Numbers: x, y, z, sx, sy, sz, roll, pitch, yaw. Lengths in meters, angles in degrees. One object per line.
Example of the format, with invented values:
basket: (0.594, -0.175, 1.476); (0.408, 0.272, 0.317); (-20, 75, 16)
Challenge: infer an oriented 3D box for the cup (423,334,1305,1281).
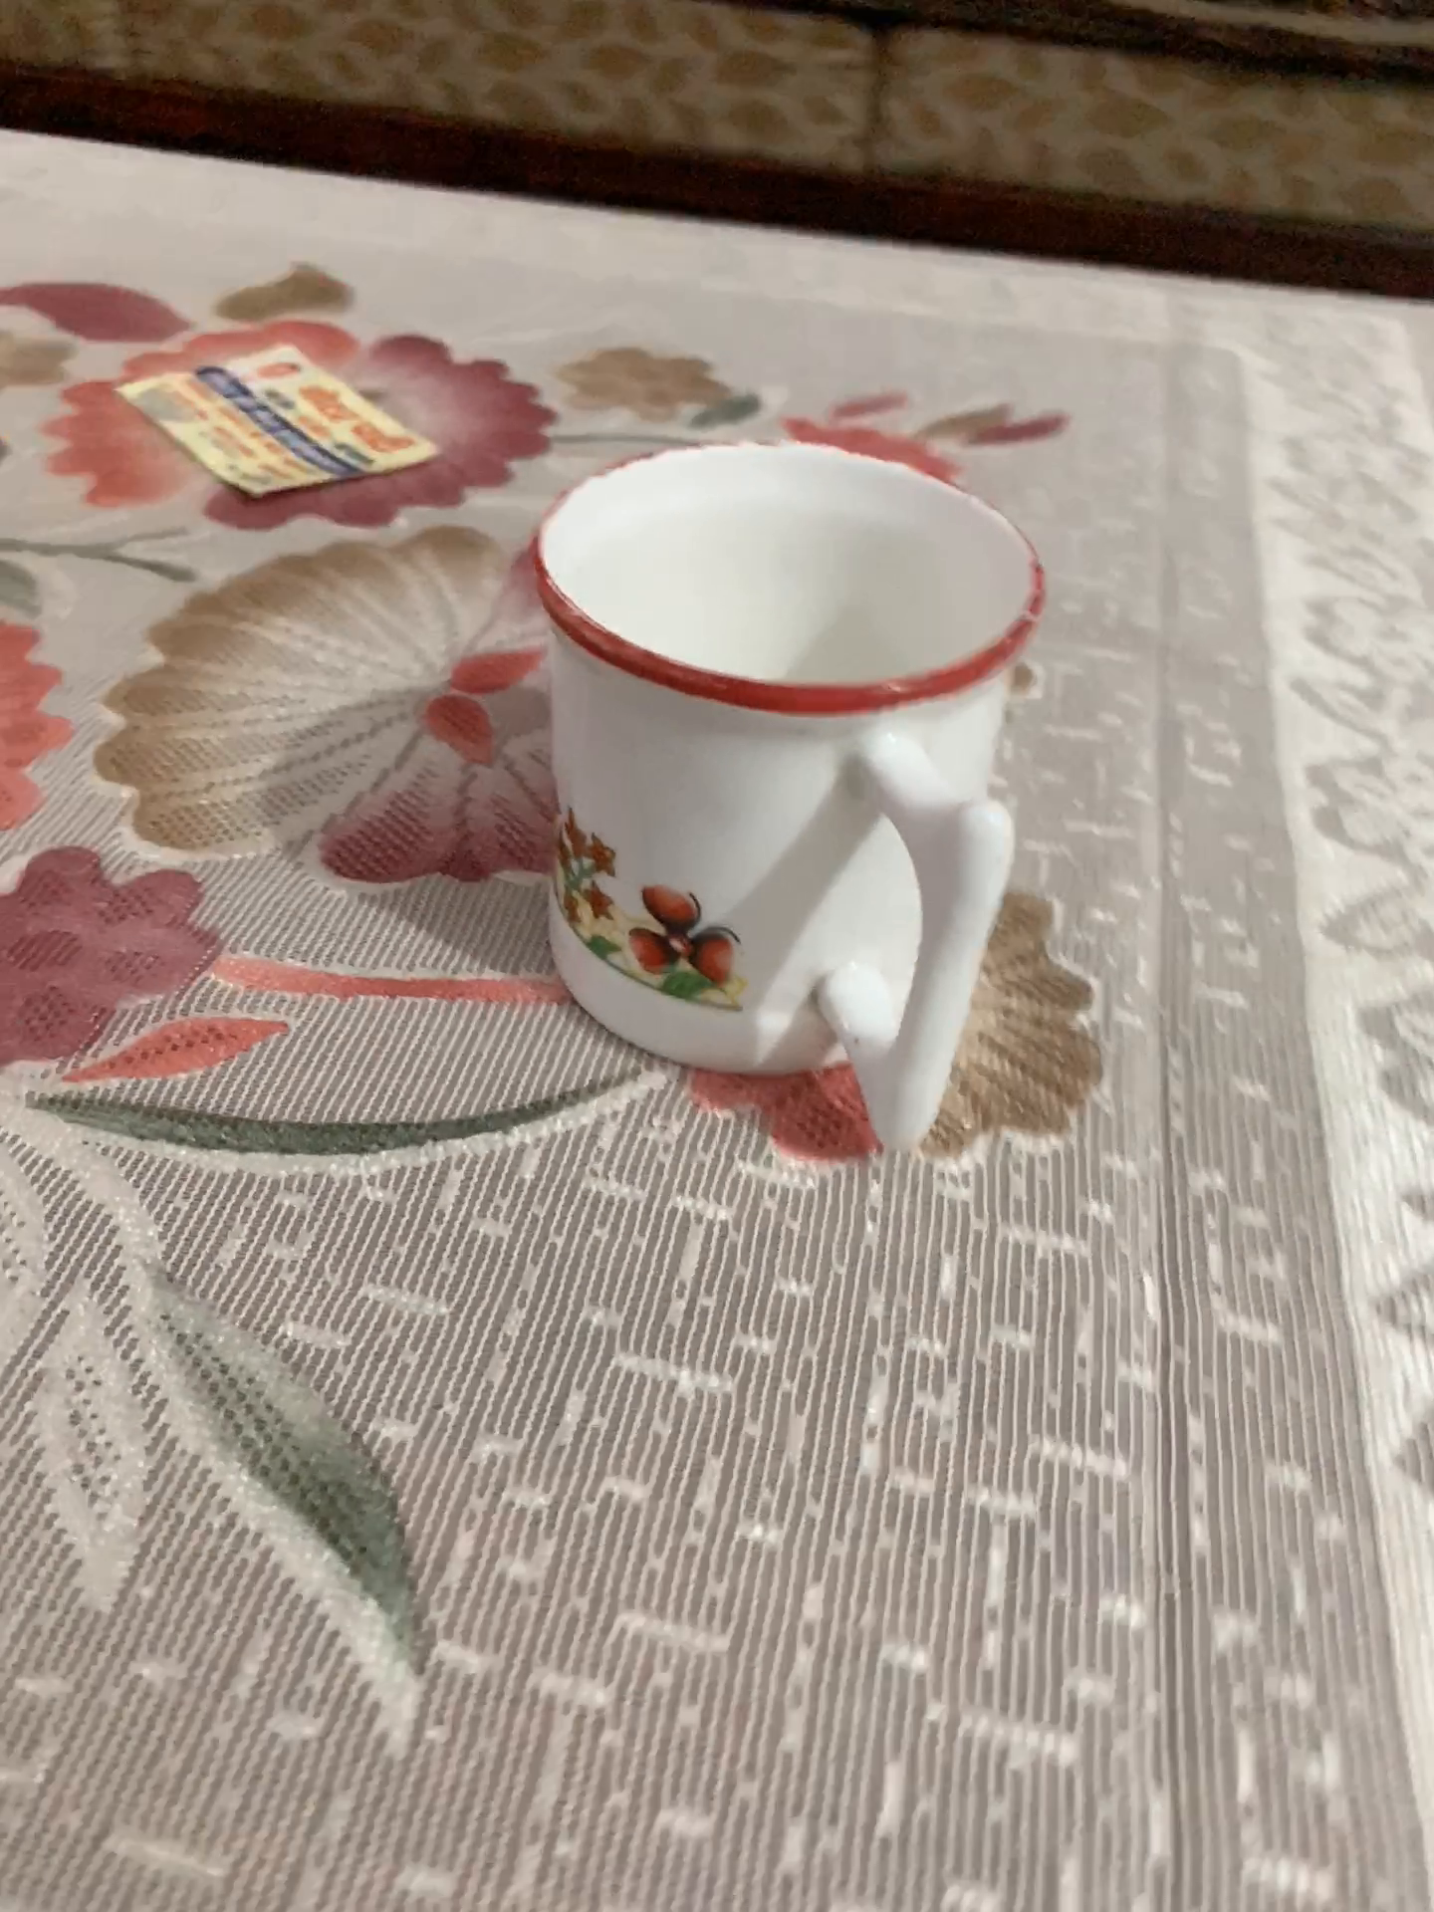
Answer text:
cup: (0.010, -0.027, 0.214); (0.070, 0.080, 0.100); (-16, 45, -21)
